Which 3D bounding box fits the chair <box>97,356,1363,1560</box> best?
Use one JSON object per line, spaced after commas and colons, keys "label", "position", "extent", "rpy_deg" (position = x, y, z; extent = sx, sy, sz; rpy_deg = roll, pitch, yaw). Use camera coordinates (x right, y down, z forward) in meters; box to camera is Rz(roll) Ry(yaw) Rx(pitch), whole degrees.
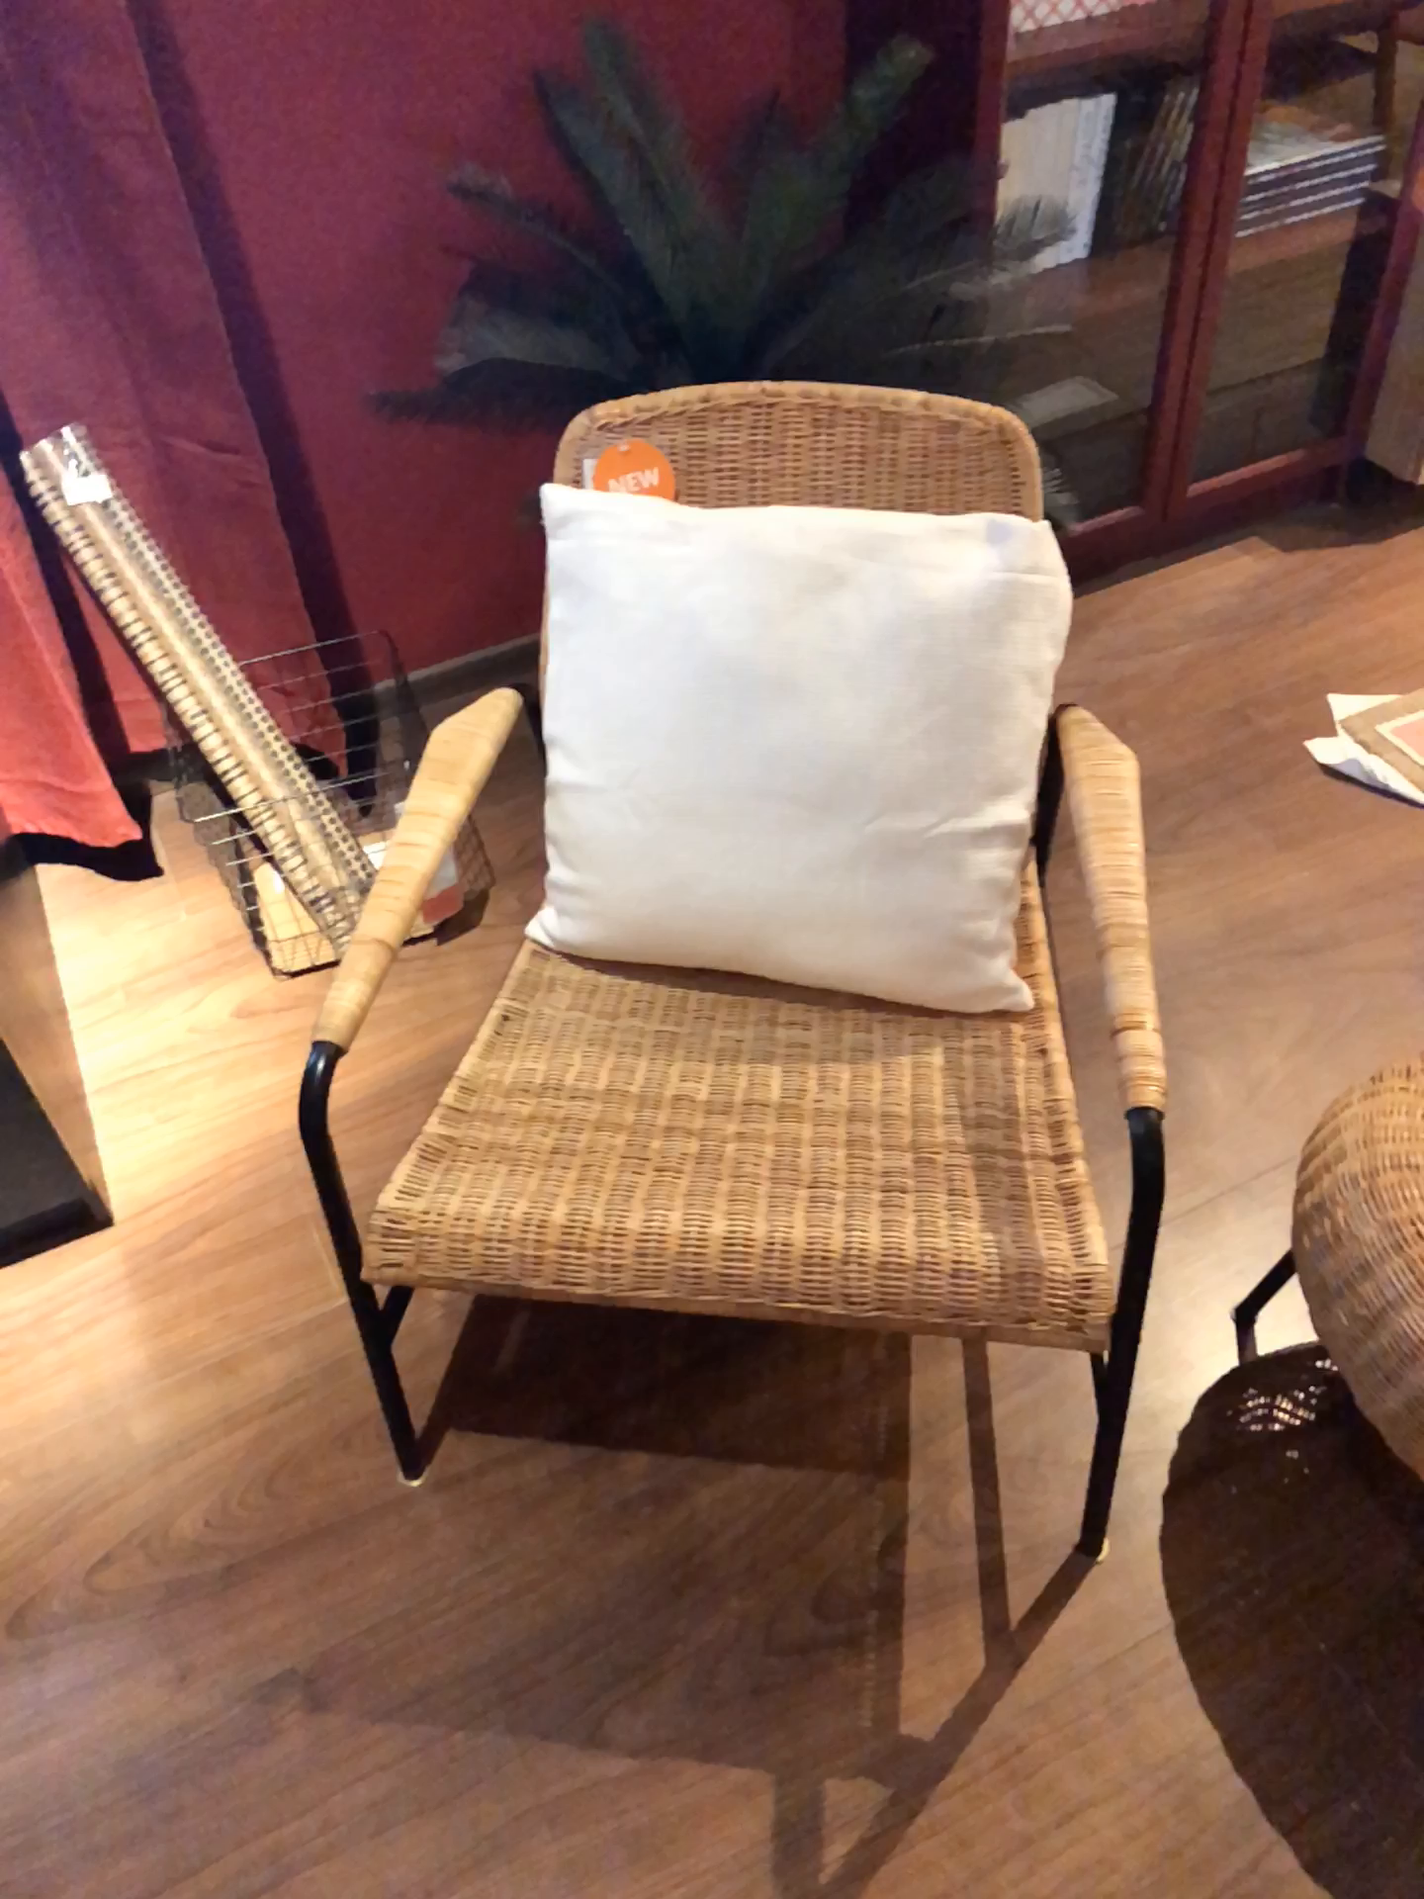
{"label": "chair", "position": [0.053, -0.004, 1.300], "extent": [0.670, 0.705, 0.664], "rpy_deg": [3, 45, 7]}
